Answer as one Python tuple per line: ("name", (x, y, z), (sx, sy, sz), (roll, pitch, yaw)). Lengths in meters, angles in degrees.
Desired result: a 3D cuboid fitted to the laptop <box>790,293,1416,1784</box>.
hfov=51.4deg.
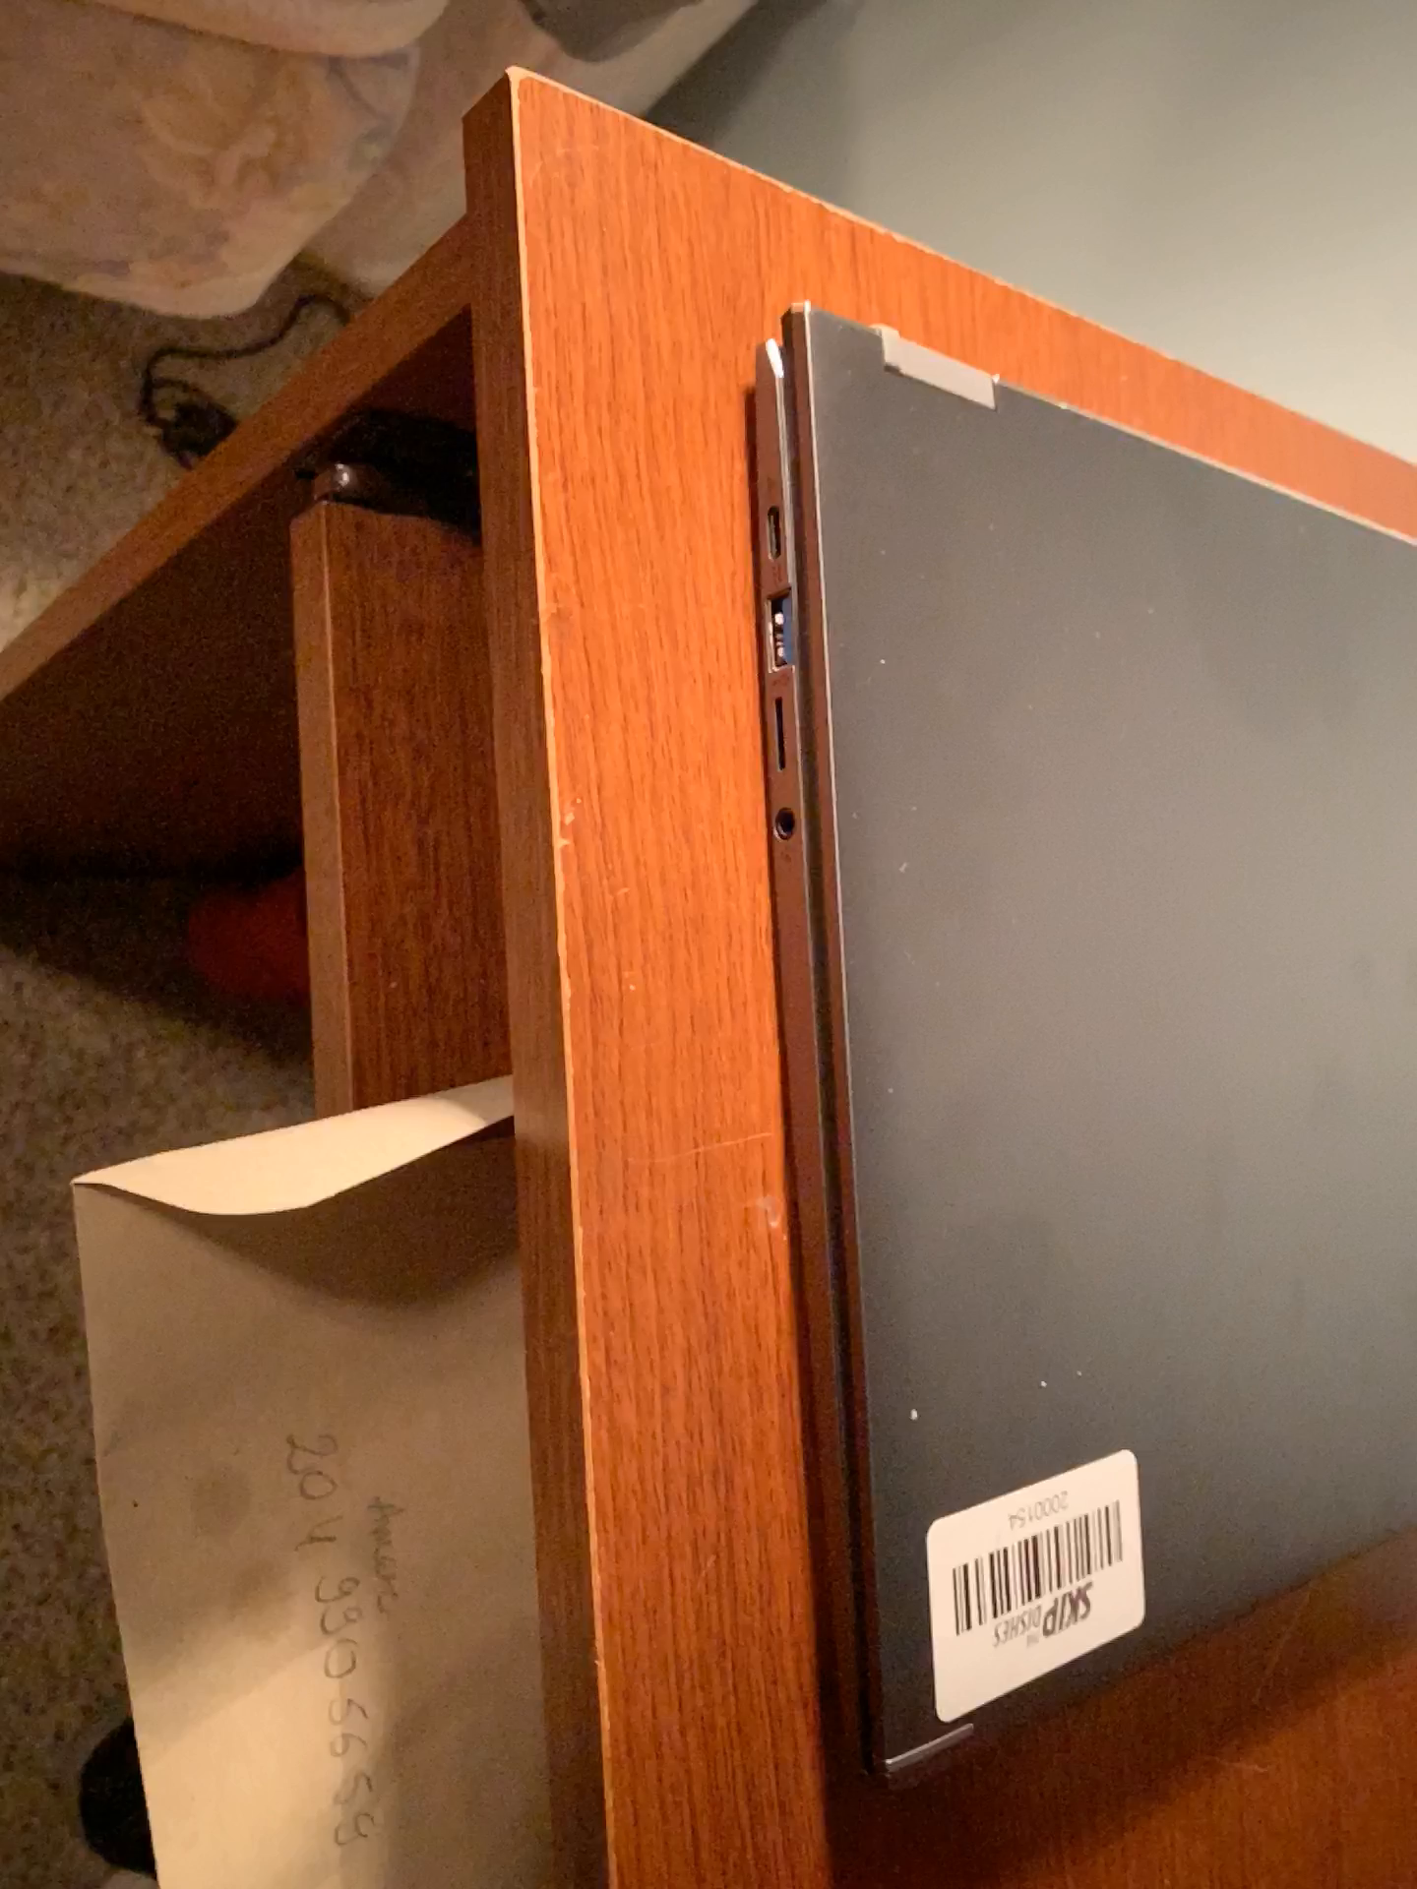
("laptop", (0.135, 0.012, 0.328), (0.301, 0.002, 0.232), (1, 84, -40))
